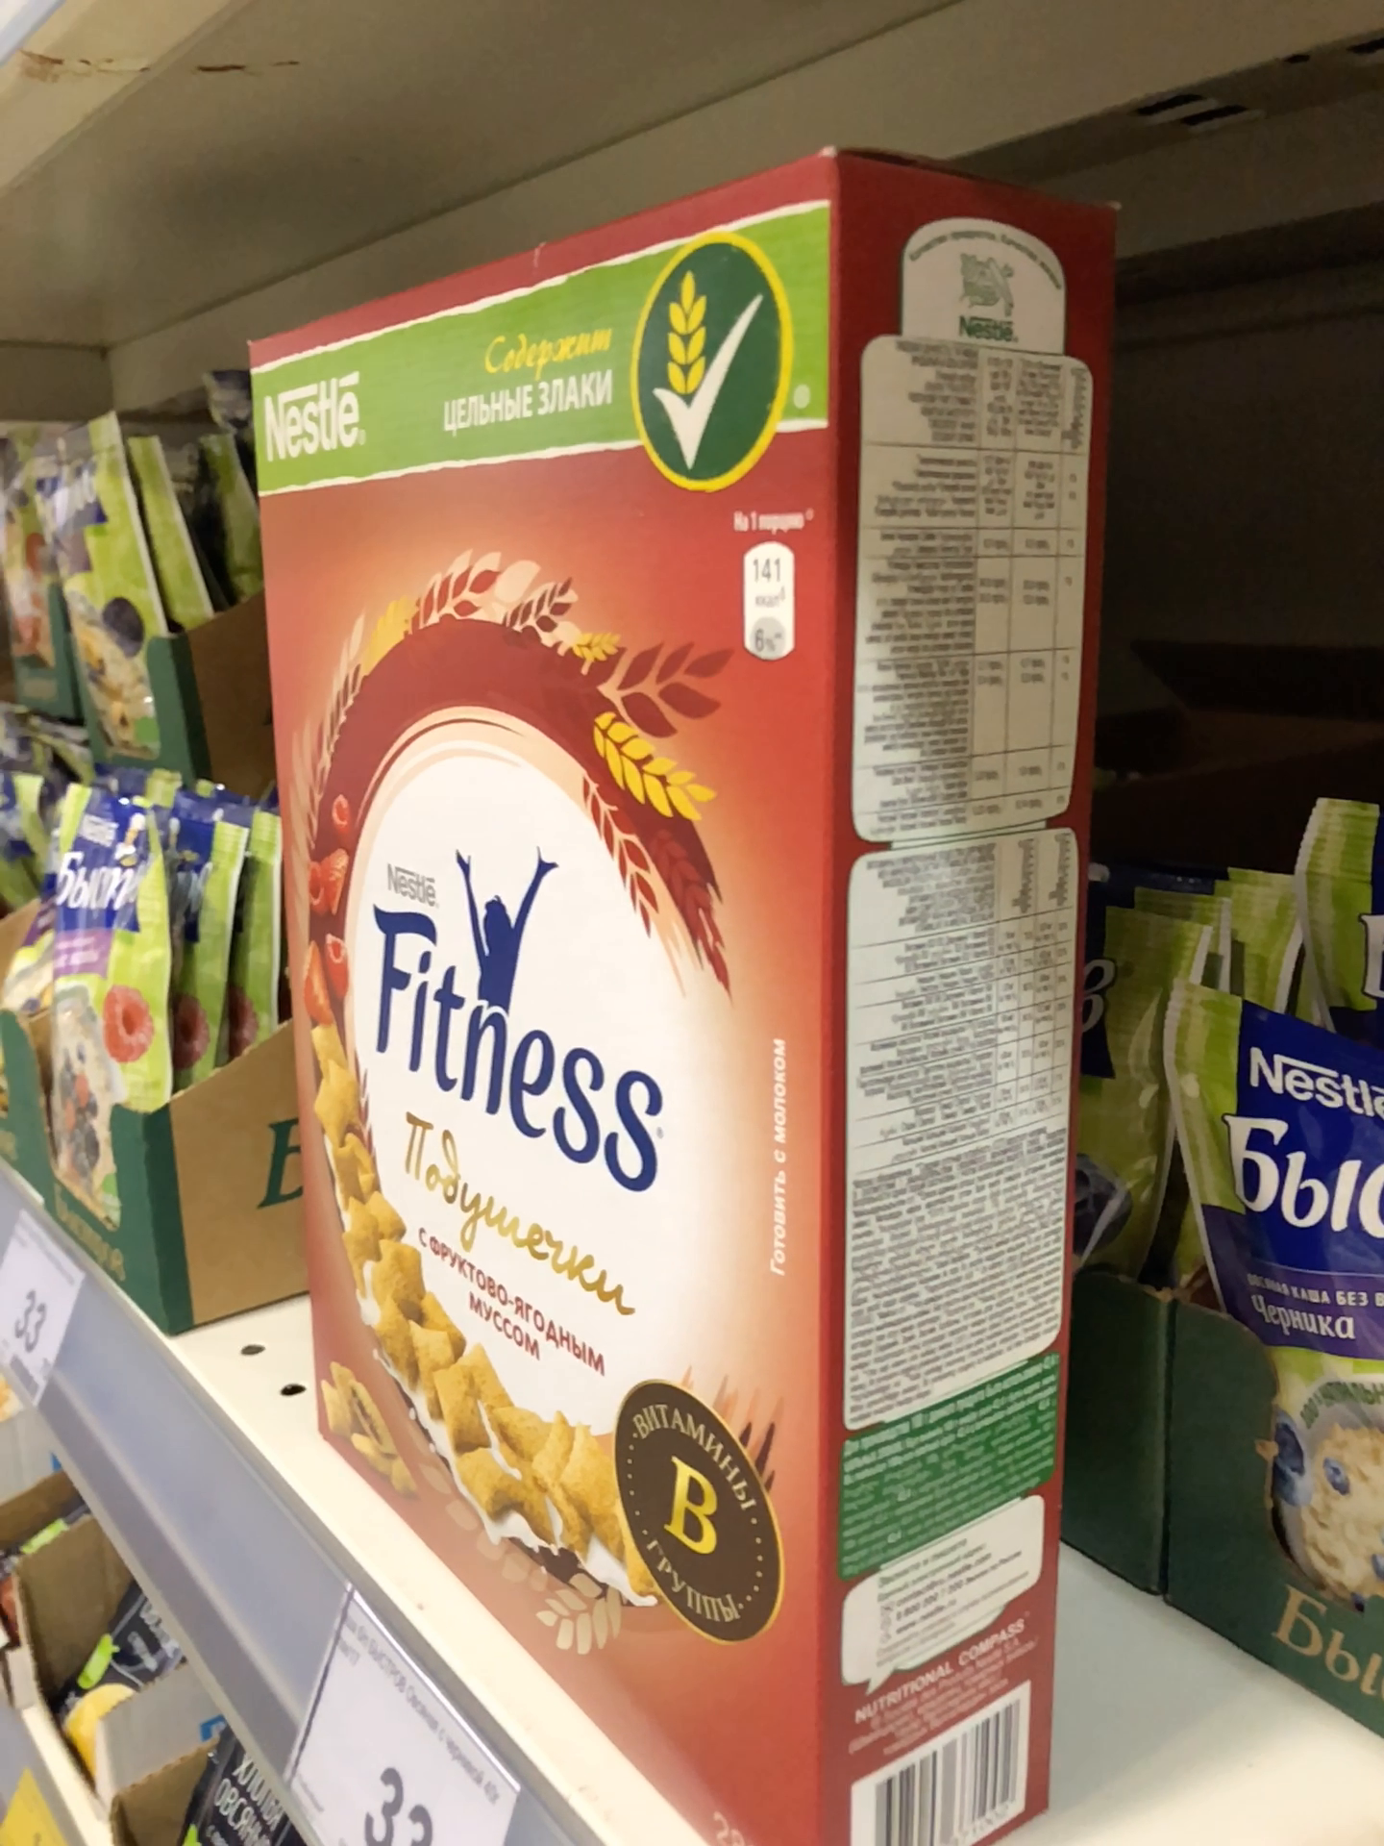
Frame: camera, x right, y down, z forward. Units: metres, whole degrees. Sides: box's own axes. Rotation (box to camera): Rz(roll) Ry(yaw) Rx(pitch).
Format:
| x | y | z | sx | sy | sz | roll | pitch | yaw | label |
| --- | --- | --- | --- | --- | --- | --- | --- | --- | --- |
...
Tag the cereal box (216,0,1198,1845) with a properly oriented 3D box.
| x | y | z | sx | sy | sz | roll | pitch | yaw | label |
| --- | --- | --- | --- | --- | --- | --- | --- | --- | --- |
| -0.014 | 0.007 | 0.256 | 0.050 | 0.239 | 0.180 | -9 | 15 | -36 | cereal box |
